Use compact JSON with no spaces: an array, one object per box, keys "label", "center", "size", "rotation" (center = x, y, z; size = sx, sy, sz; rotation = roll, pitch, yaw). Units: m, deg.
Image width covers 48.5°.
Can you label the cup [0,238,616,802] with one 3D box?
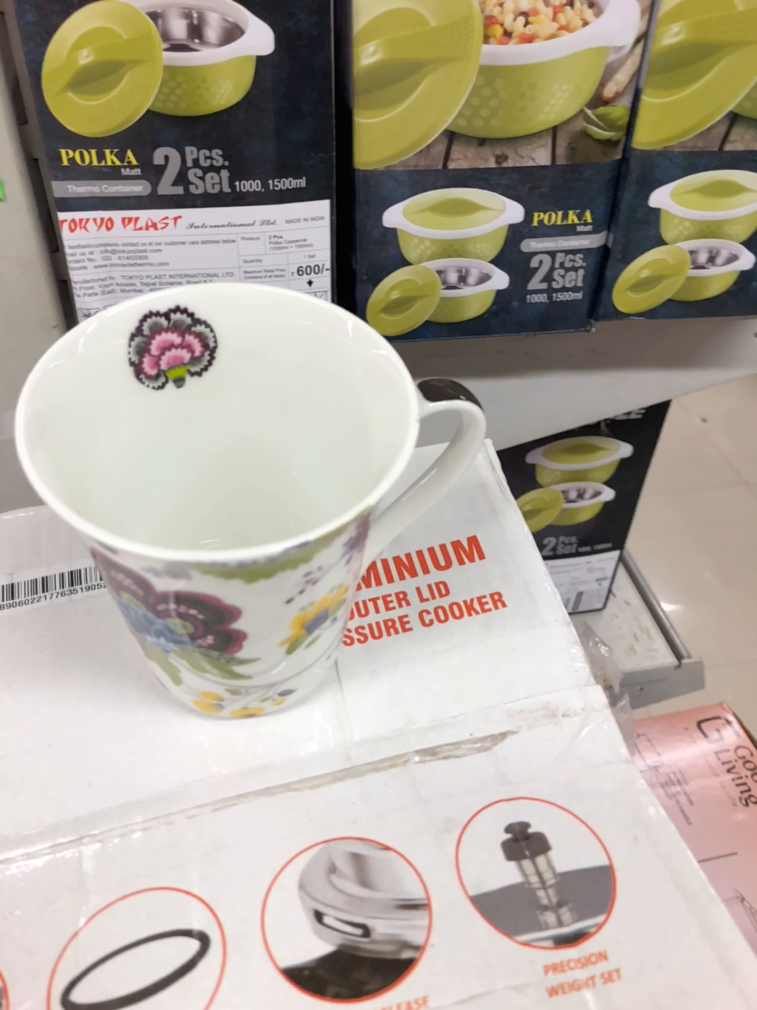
[{"label":"cup","center":[-0.023,0.001,0.221],"size":[0.120,0.089,0.080],"rotation":[-17,54,-20]}]
